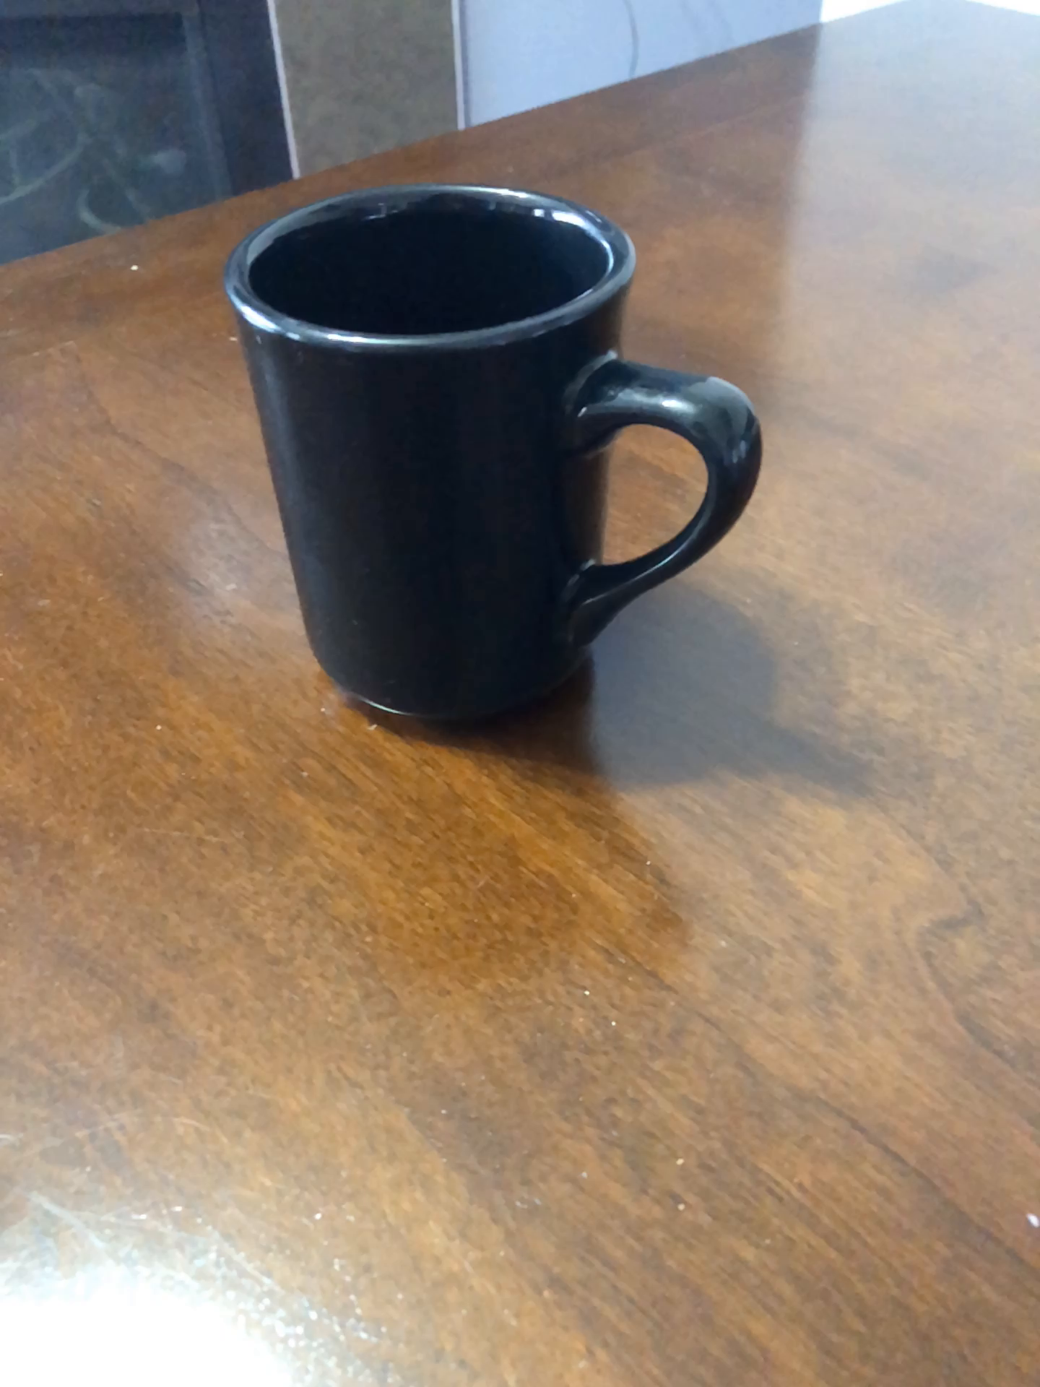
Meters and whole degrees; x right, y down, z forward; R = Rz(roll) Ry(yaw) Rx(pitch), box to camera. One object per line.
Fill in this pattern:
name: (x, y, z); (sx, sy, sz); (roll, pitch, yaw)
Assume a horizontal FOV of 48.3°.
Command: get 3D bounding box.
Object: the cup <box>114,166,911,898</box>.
cup: (-0.001, -0.042, 0.248); (0.120, 0.090, 0.090); (26, 49, 27)
